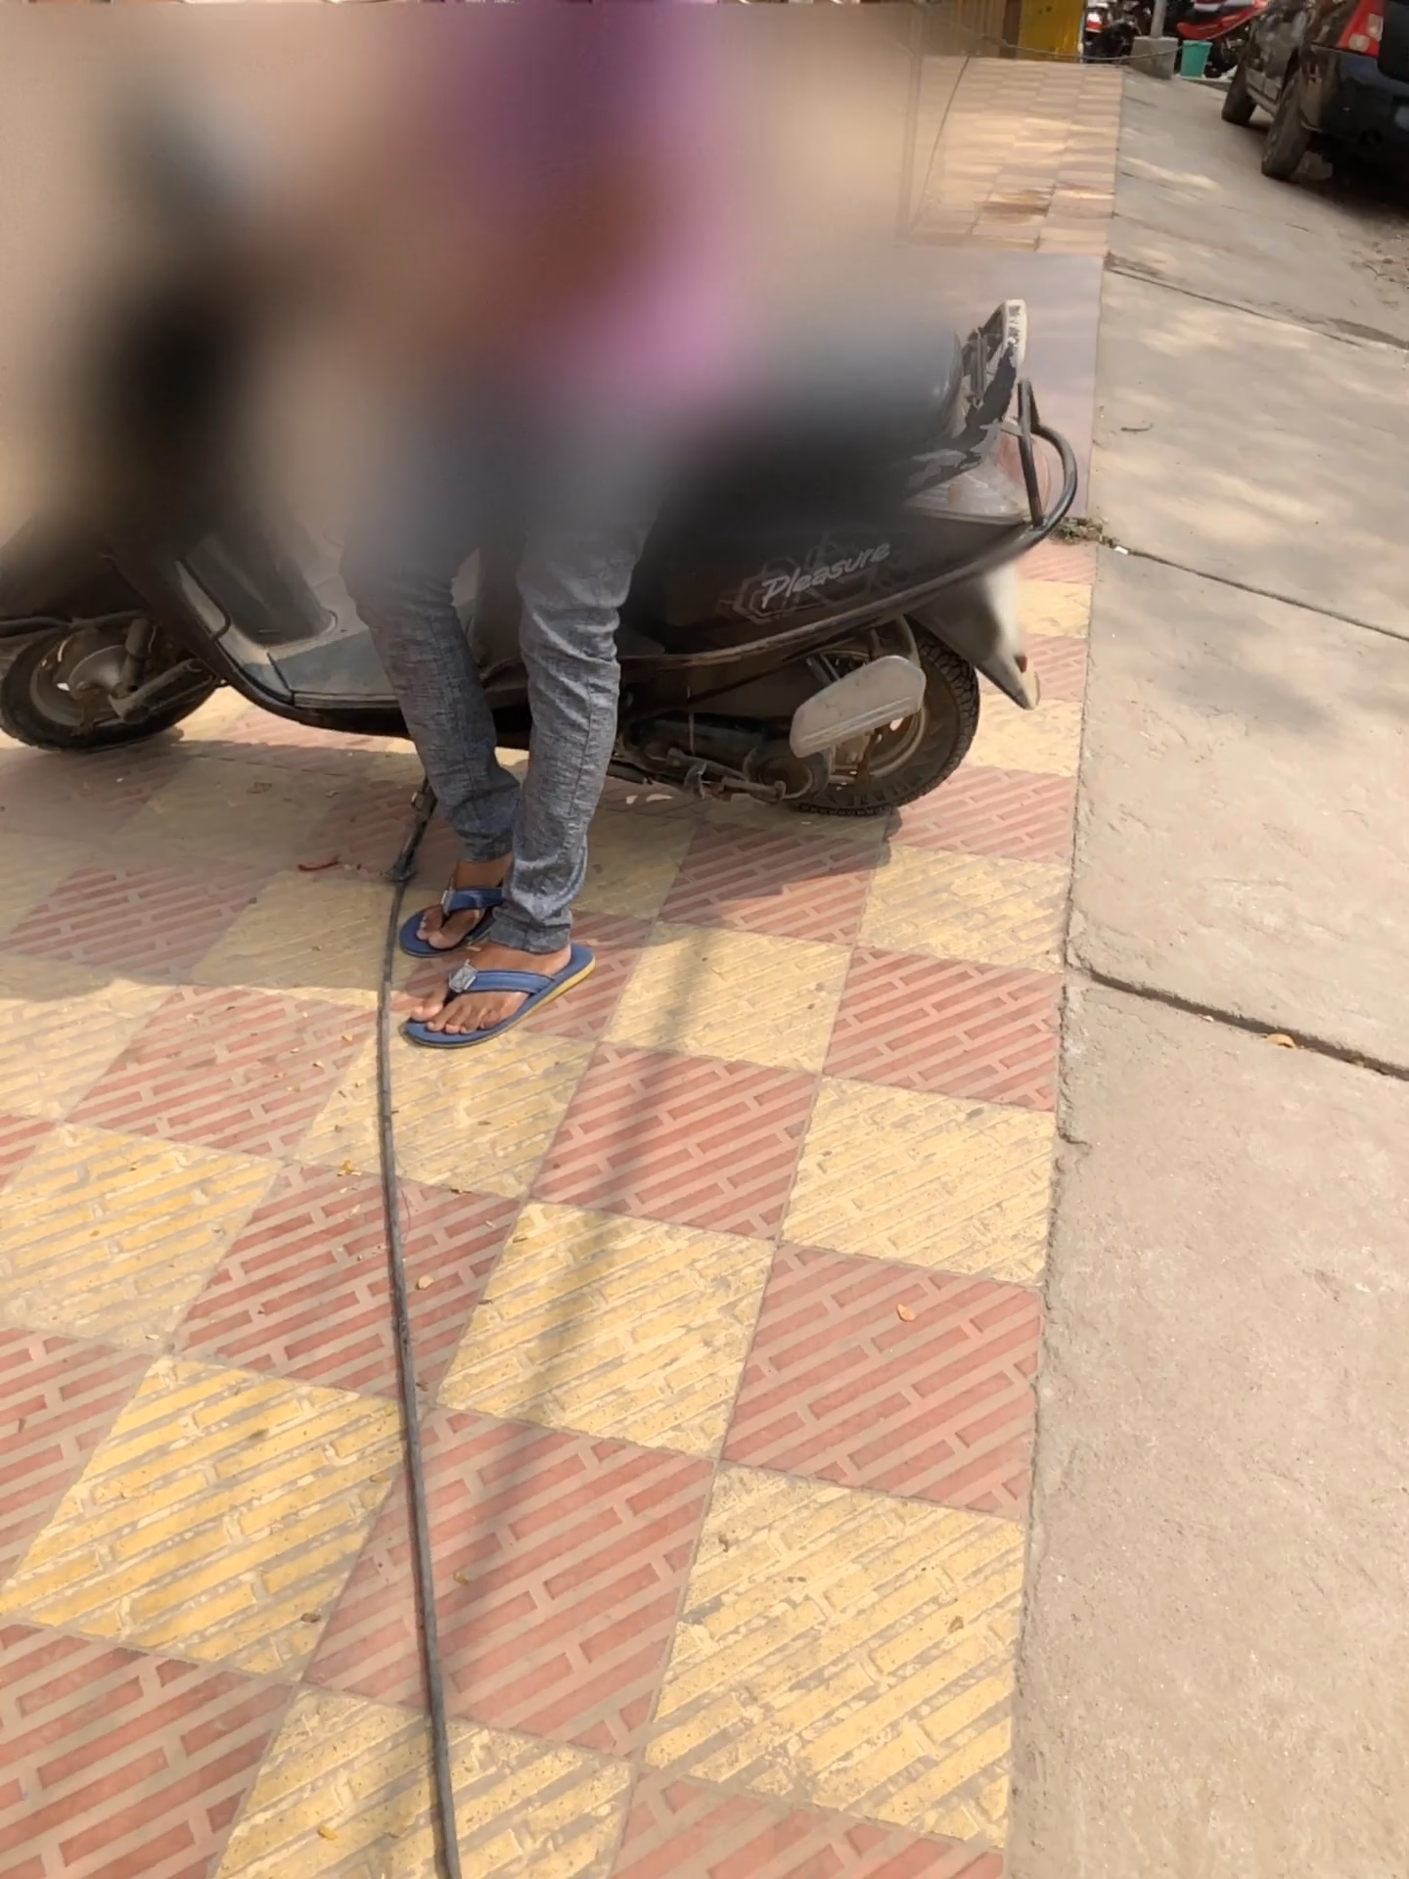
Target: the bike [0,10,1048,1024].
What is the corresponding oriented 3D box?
[{"bbox_3d":[-0.417,-0.558,2.095,1.593,1.116,0.639,3,34,2],"label":"bike"}]
